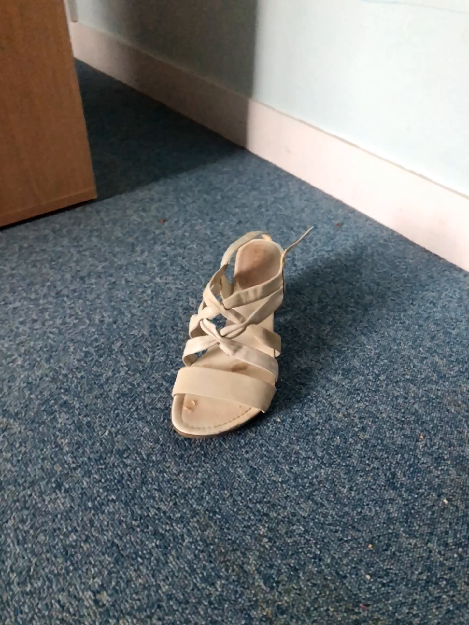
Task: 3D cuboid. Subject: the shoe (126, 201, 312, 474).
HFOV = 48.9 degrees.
[{"bbox_3d":[0.000,0.007,0.488,0.100,0.109,0.242,11,41,10],"label":"shoe"}]
